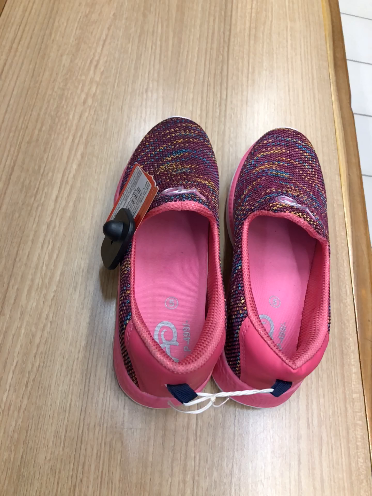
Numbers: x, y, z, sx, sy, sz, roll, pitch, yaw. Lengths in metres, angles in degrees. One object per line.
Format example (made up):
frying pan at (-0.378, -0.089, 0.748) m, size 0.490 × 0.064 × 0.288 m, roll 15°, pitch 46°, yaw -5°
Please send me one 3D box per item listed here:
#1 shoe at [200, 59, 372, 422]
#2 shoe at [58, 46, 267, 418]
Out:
shoe at (0.084, -0.006, 0.317) m, size 0.105 × 0.103 × 0.245 m, roll 10°, pitch 65°, yaw -5°
shoe at (-0.015, -0.010, 0.302) m, size 0.105 × 0.103 × 0.245 m, roll 4°, pitch 66°, yaw -7°
